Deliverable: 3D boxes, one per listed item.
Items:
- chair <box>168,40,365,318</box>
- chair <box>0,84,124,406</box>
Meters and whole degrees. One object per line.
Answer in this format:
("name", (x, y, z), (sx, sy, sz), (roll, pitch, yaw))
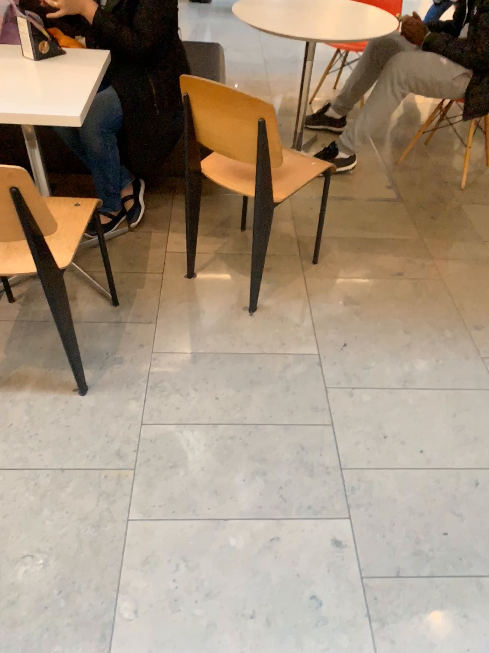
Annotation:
("chair", (0.062, -0.534, 1.840), (0.418, 0.767, 0.498), (29, 49, 23))
("chair", (-0.650, -0.207, 1.460), (0.427, 0.767, 0.499), (1, 44, -3))
